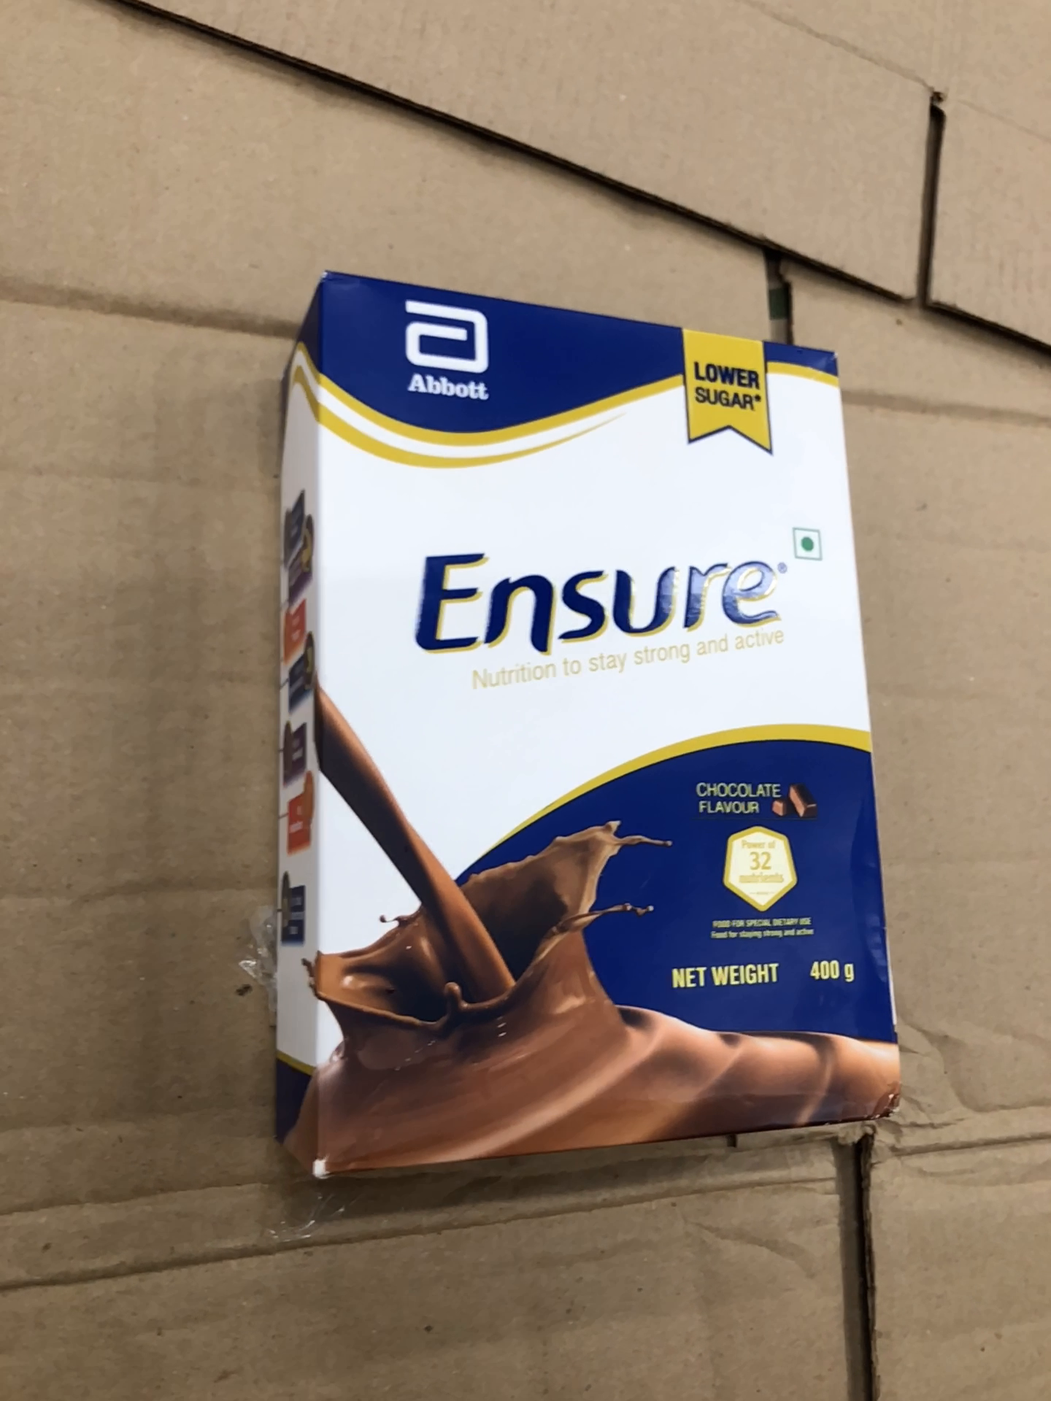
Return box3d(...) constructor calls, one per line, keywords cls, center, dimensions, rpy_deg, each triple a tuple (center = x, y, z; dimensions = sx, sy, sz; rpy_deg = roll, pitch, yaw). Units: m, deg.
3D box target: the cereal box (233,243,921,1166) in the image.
box3d(cls="cereal box", center=(0.008, 0.001, 0.271), dimensions=(0.141, 0.050, 0.180), rpy_deg=(2, 78, -20))
